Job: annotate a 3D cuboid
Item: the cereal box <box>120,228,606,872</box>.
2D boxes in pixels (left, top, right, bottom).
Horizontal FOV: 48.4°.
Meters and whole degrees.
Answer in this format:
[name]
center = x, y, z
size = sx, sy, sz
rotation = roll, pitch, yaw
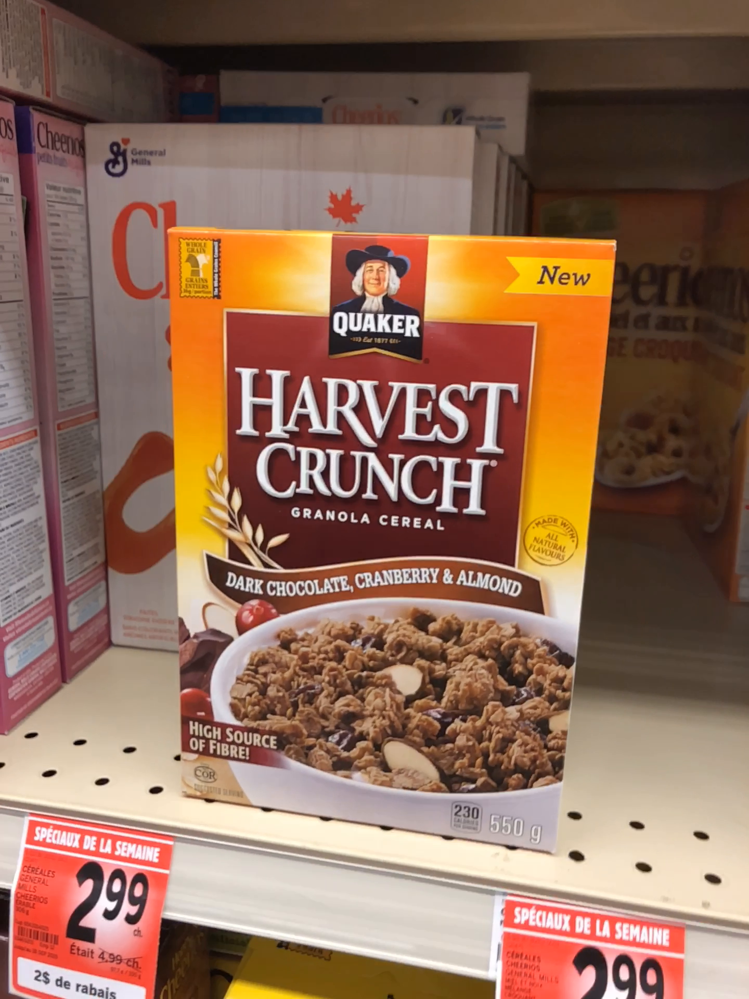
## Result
[cereal box]
center = -0.006, 0.017, 0.343
size = 0.170, 0.239, 0.060
rotation = 5, 15, 10
